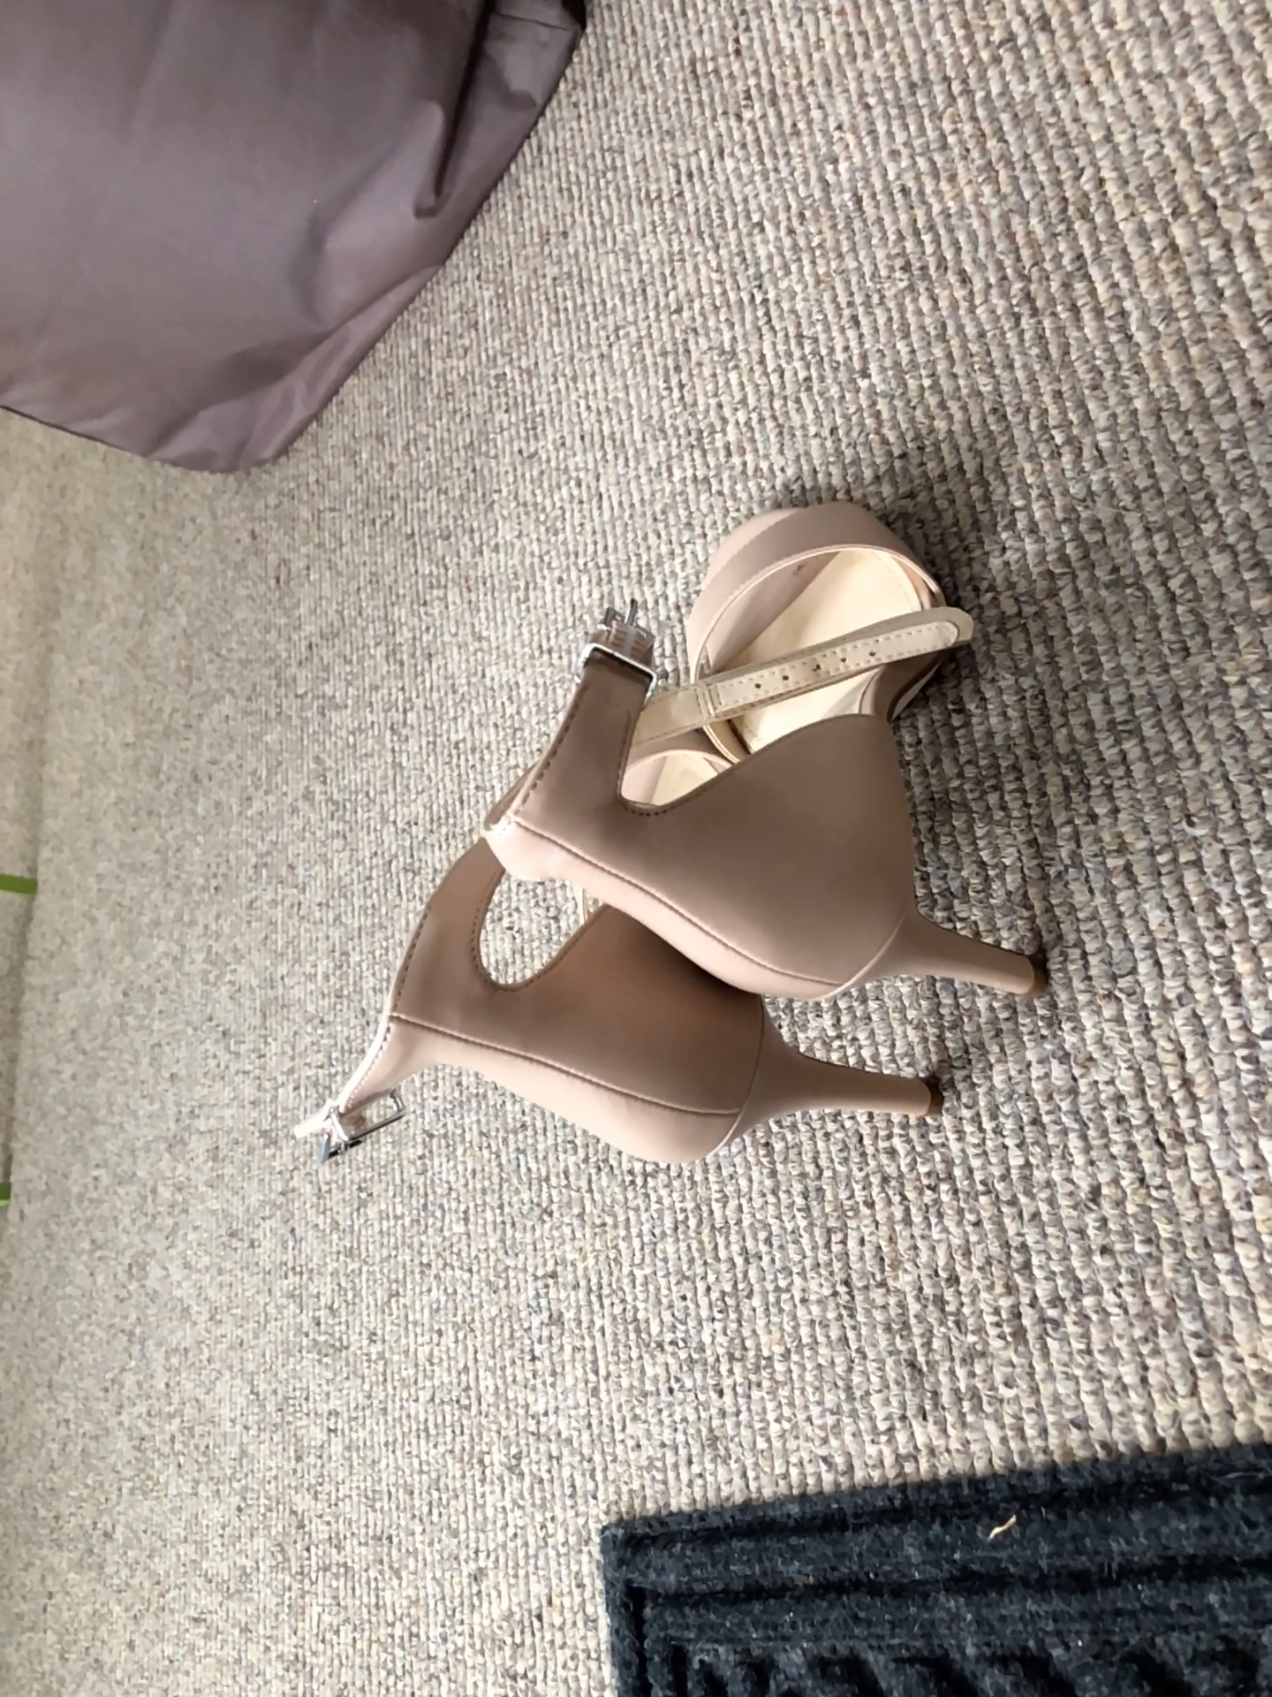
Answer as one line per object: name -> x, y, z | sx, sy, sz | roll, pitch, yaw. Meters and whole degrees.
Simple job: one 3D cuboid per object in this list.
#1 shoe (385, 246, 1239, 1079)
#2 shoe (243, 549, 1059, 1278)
shoe -> 0.040, -0.054, 0.415 | 0.099, 0.154, 0.207 | -50, 45, 27
shoe -> -0.008, 0.016, 0.438 | 0.105, 0.144, 0.207 | -60, 41, 17
